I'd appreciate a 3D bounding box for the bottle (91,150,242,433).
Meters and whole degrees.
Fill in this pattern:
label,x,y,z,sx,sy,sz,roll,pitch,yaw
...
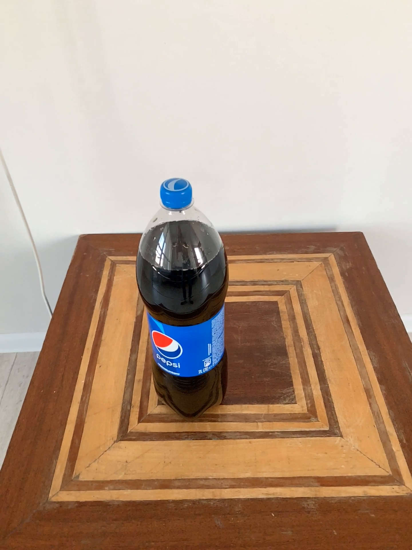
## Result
label,x,y,z,sx,sy,sz,roll,pitch,yaw
bottle,-0.030,0.041,0.500,0.100,0.338,0.100,-1,43,1
